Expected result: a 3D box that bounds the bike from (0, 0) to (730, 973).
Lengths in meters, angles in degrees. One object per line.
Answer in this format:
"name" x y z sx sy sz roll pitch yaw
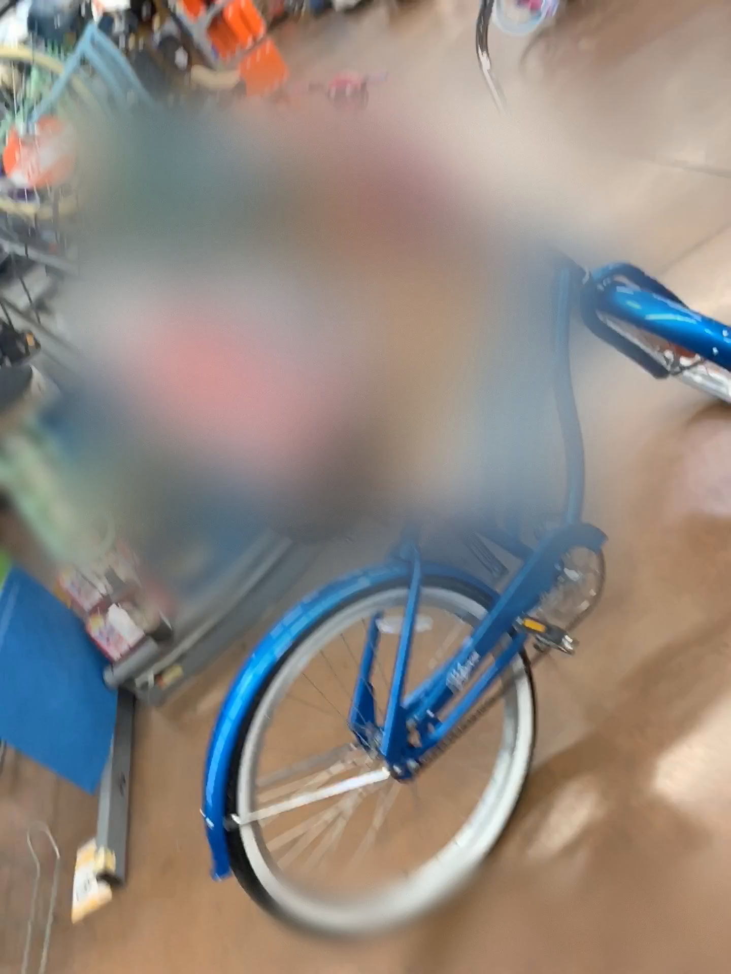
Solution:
"bike" 0.054 -0.071 1.441 0.877 1.208 1.530 4 50 47
